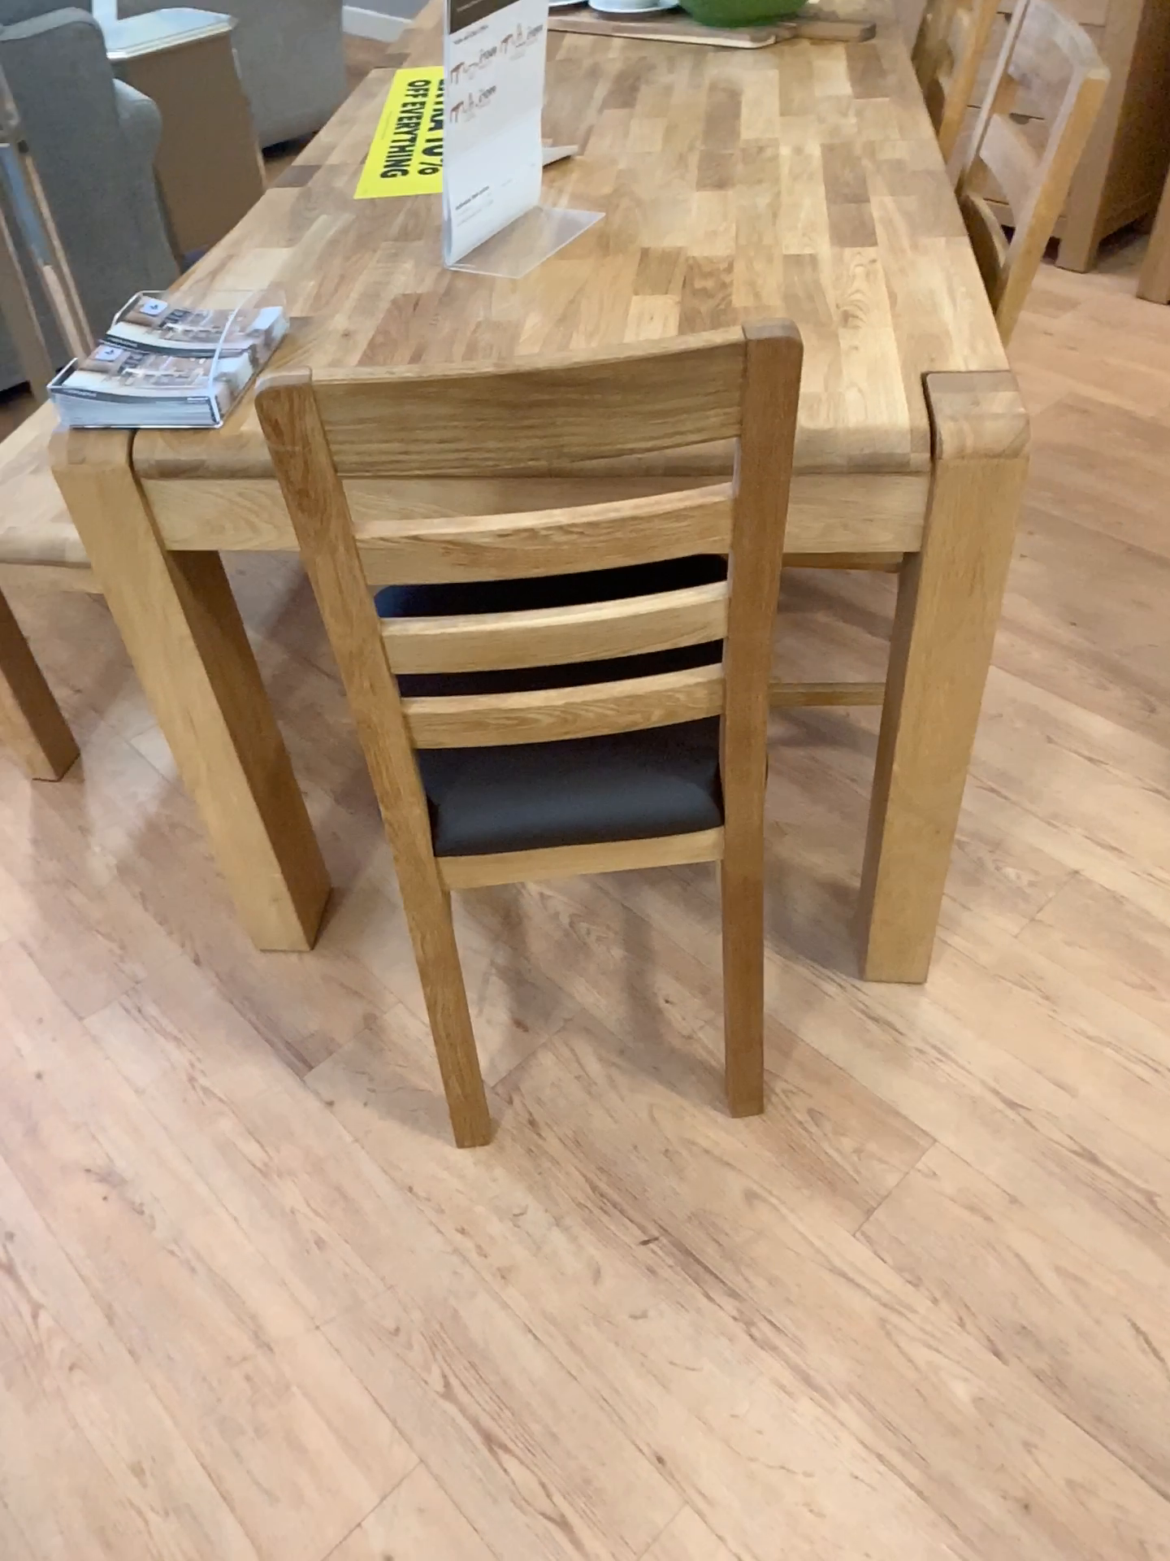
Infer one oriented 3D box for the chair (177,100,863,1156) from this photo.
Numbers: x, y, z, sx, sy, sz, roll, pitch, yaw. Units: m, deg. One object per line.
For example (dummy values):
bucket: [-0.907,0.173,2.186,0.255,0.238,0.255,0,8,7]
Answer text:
chair: [-0.027,-0.102,1.230,0.421,0.917,0.522,-5,43,0]
